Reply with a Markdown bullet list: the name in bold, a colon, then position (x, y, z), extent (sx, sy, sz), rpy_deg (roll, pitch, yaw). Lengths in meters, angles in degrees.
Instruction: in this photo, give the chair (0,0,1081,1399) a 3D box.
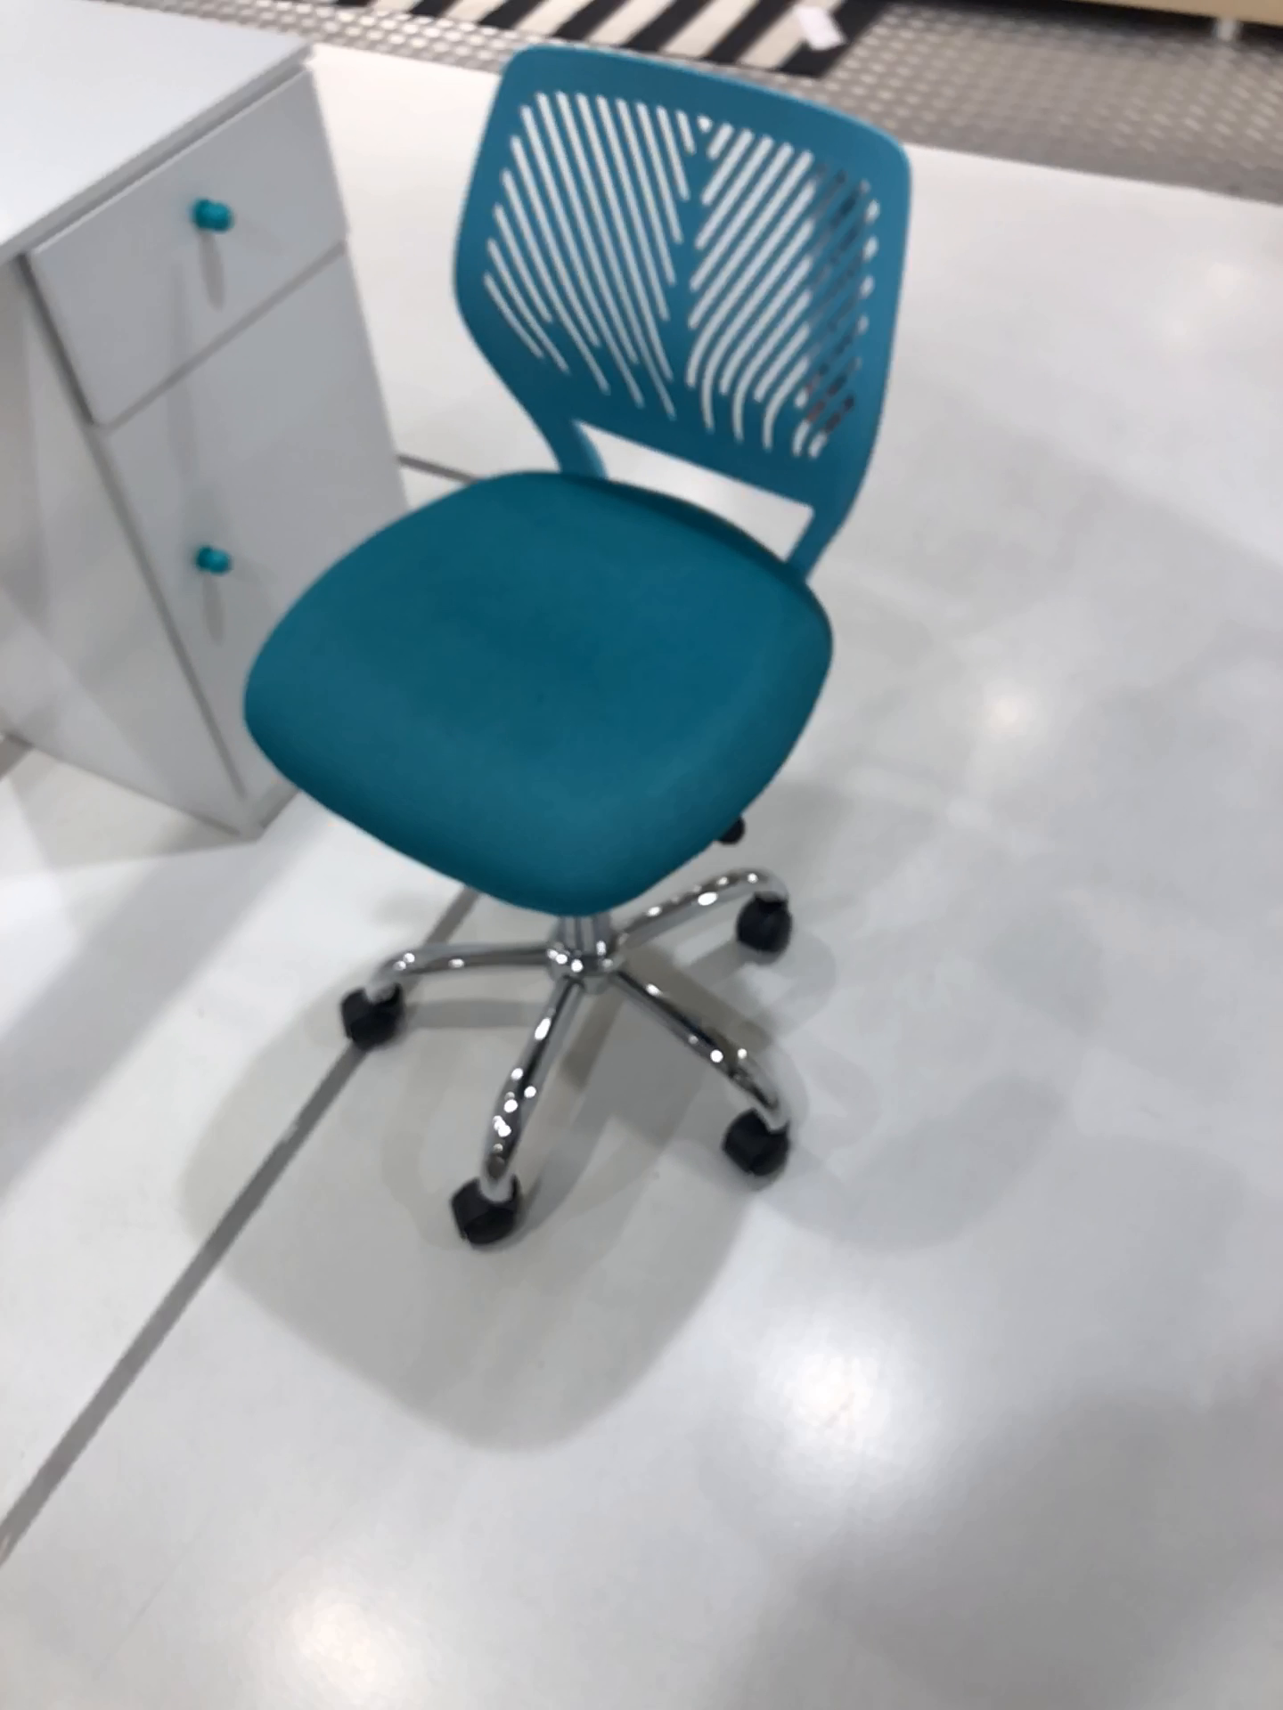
- **chair**: position (-0.074, -0.082, 1.090), extent (0.481, 0.805, 0.532), rpy_deg (27, 58, 24)
